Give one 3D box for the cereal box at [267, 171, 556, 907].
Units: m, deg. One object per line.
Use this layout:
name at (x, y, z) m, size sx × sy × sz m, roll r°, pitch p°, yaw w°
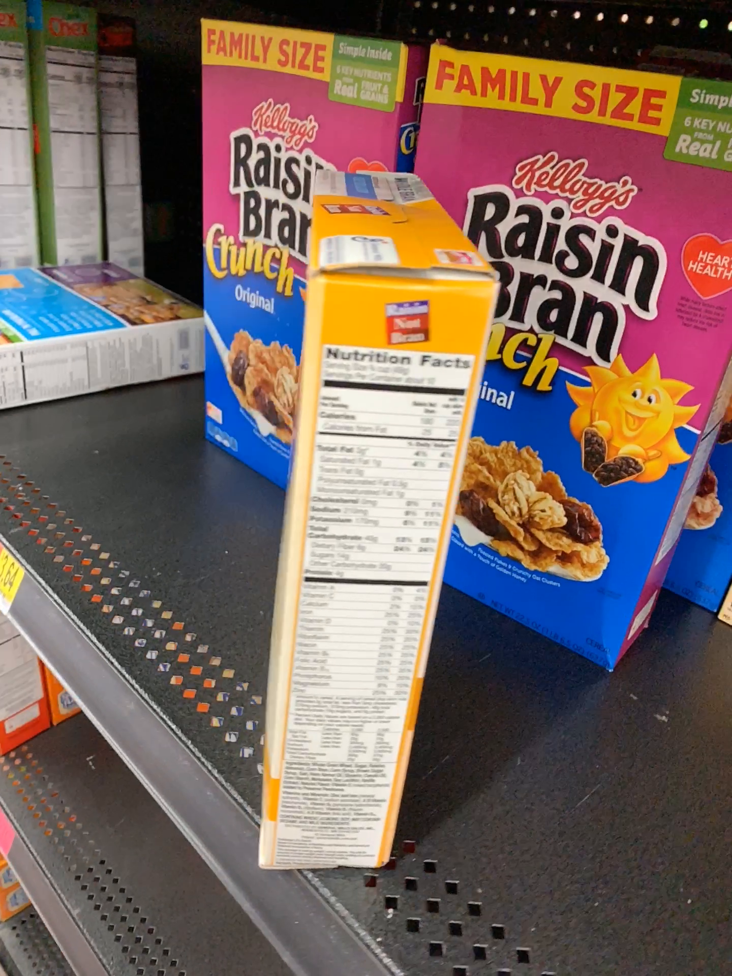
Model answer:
cereal box at (0.000, 0.013, 0.341) m, size 0.060 × 0.259 × 0.201 m, roll 5°, pitch 30°, yaw -5°
